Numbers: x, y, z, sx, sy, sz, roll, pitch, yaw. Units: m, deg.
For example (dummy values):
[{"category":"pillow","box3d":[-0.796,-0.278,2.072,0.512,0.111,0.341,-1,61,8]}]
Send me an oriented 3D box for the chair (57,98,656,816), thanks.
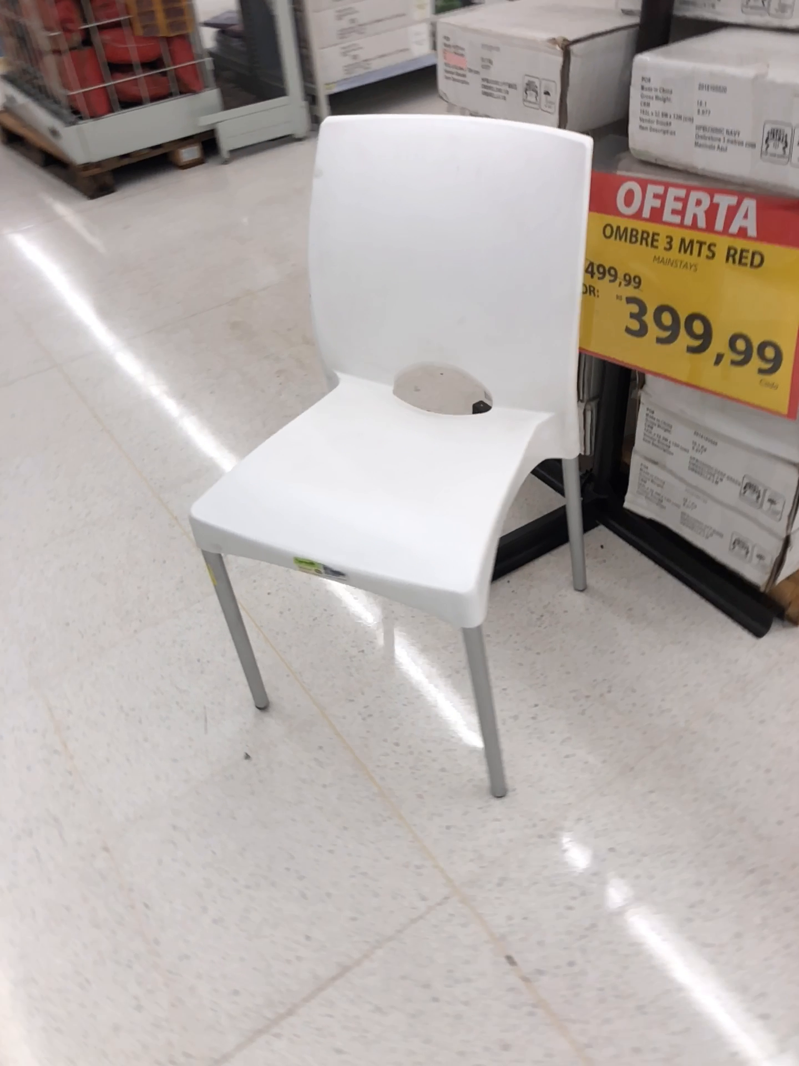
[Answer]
[{"category":"chair","box3d":[0.017,-0.124,1.290,0.501,0.794,0.563,15,45,25]}]
